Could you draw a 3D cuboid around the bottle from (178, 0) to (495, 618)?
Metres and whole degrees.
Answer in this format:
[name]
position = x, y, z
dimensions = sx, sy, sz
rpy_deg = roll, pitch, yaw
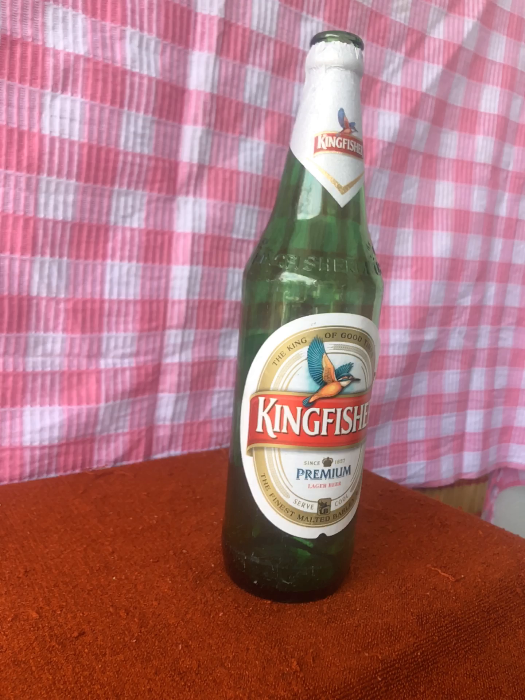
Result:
[bottle]
position = 0.027, -0.021, 0.306
dimensions = 0.090, 0.289, 0.080
rpy_deg = 5, 10, -22
